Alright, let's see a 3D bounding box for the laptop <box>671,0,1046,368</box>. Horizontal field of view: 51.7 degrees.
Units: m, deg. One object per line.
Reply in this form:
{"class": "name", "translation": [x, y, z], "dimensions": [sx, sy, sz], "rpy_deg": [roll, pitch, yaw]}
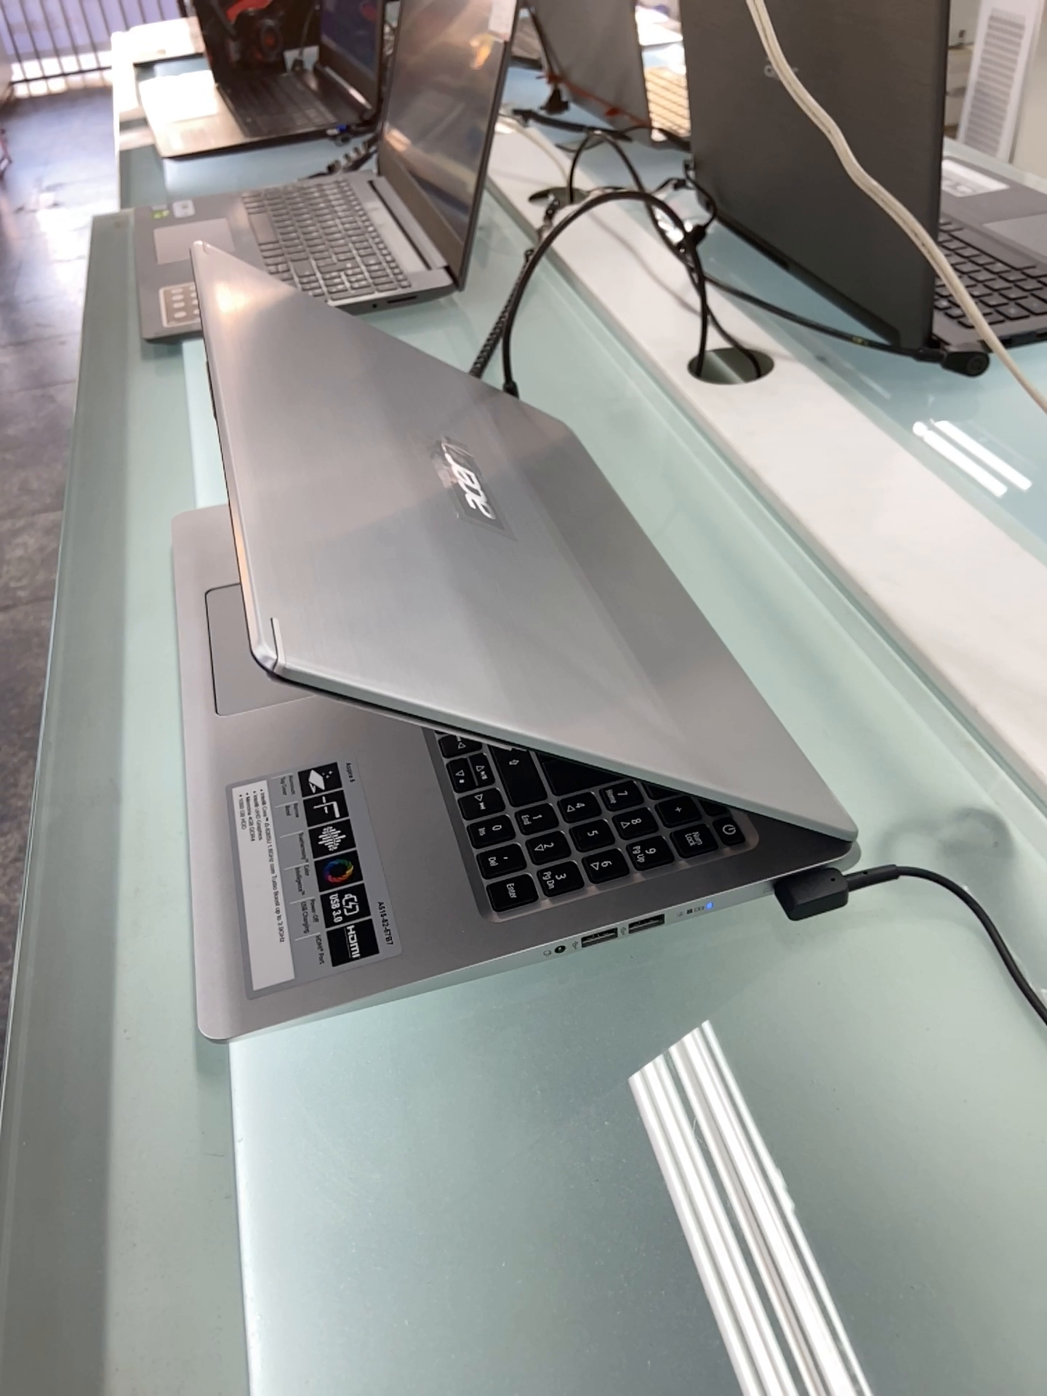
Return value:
{"class": "laptop", "translation": [0.303, -0.463, 0.784], "dimensions": [0.264, 0.249, 0.365], "rpy_deg": [-15, 42, -8]}

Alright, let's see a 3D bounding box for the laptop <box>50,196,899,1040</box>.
{"class": "laptop", "translation": [-0.052, -0.077, 0.468], "dimensions": [0.236, 0.138, 0.362], "rpy_deg": [-15, 41, -9]}
